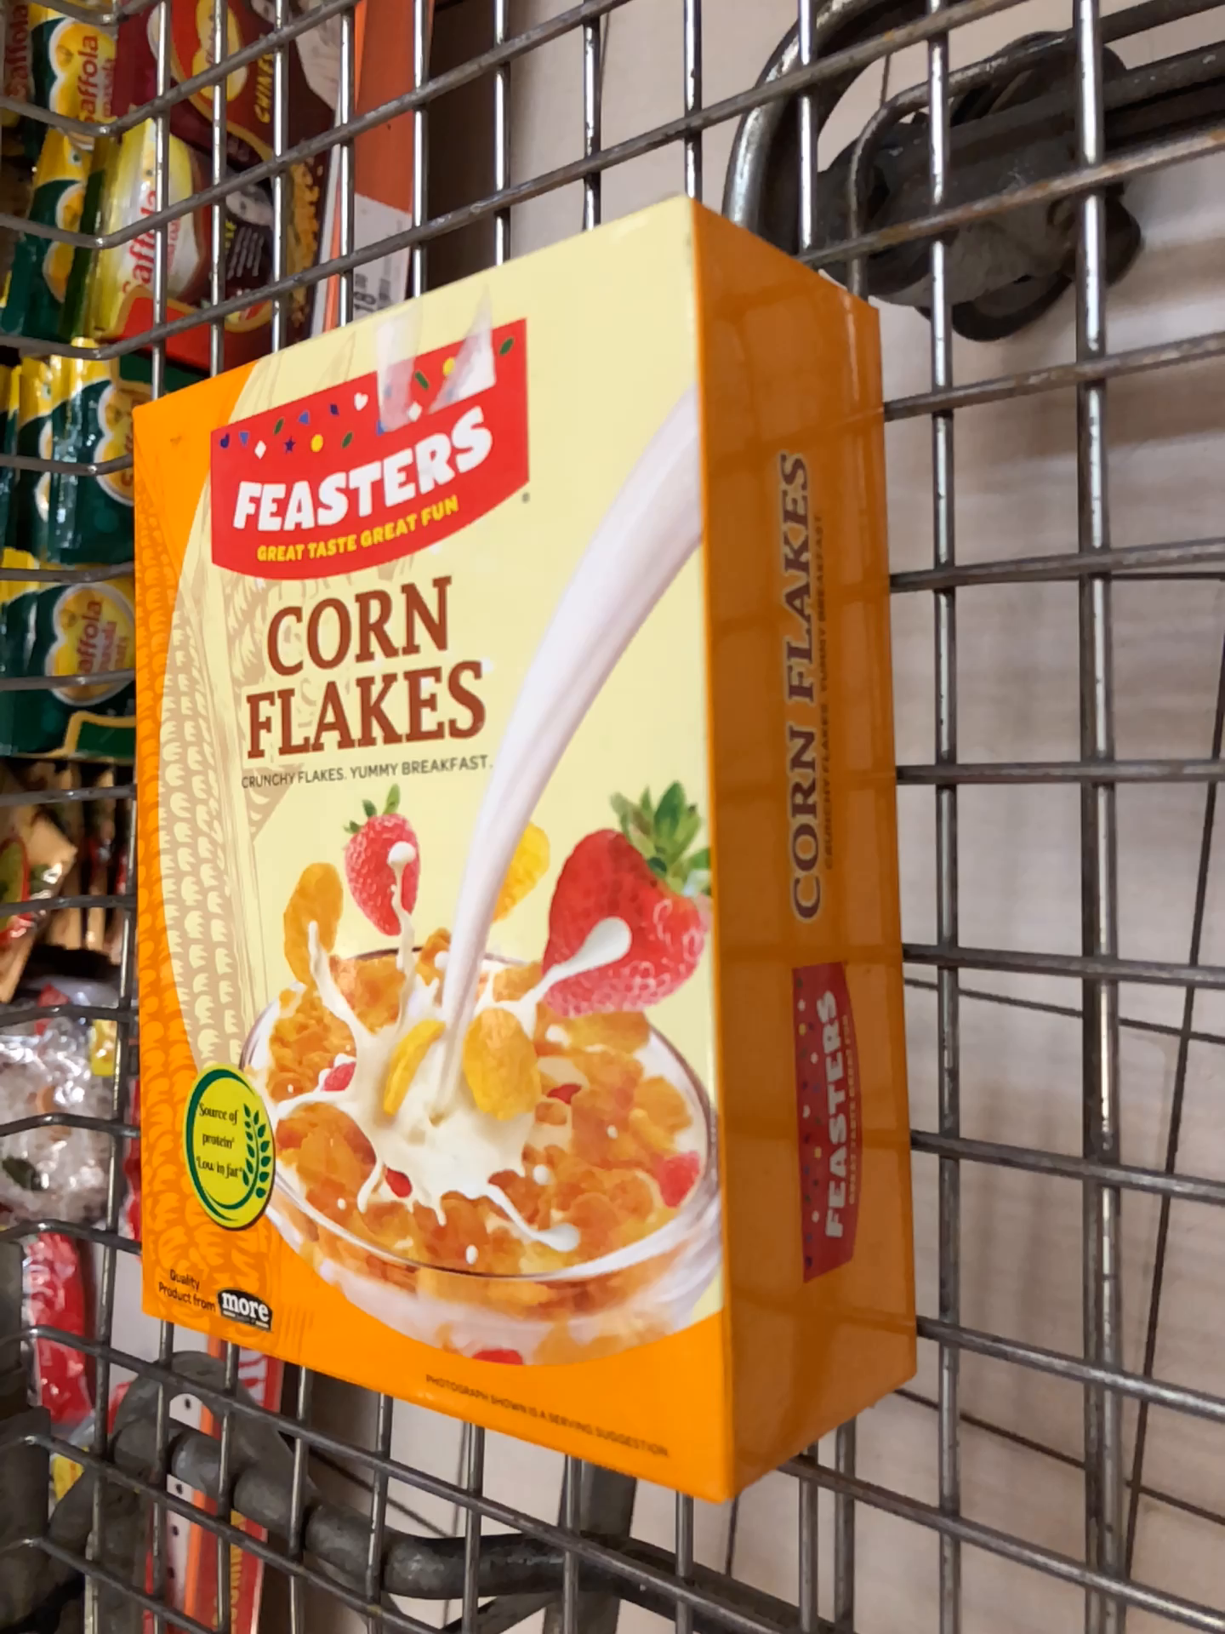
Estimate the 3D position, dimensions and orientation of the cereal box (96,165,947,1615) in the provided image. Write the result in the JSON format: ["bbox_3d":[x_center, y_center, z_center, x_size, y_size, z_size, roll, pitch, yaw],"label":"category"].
[{"bbox_3d":[-0.023,0.010,0.237,0.141,0.060,0.180,-2,89,39],"label":"cereal box"}]
